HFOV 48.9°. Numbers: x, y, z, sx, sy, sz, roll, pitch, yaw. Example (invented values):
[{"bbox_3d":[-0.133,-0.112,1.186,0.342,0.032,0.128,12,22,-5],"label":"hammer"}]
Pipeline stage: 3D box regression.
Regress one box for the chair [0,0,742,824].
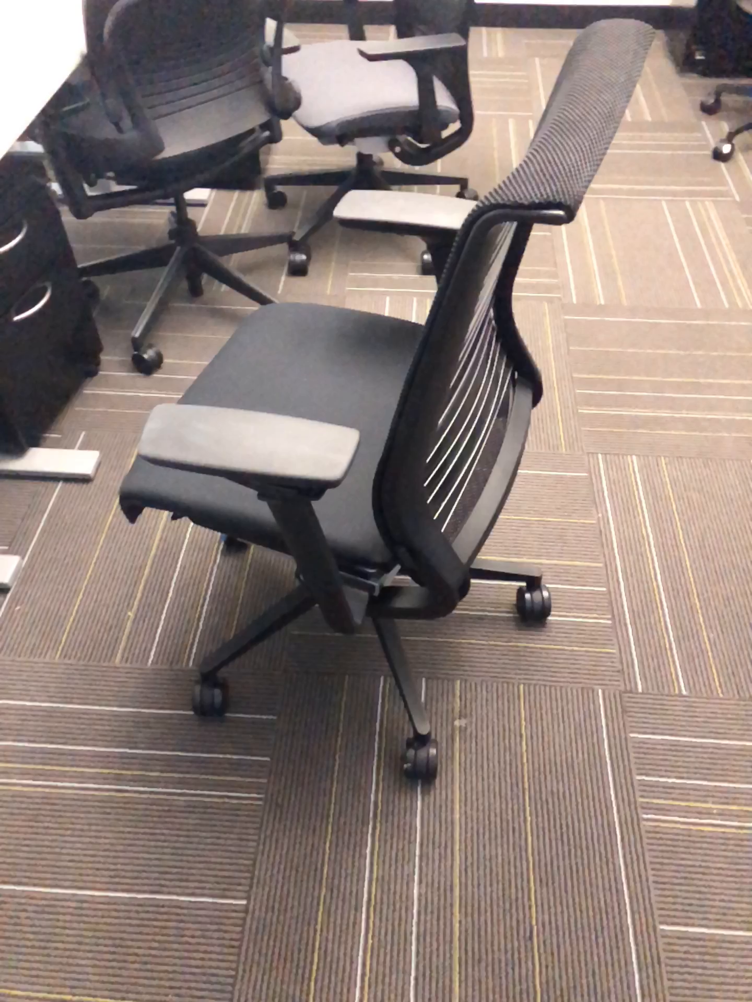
[{"bbox_3d":[0.028,-0.185,1.207,0.660,0.996,0.753,13,48,13],"label":"chair"}]
